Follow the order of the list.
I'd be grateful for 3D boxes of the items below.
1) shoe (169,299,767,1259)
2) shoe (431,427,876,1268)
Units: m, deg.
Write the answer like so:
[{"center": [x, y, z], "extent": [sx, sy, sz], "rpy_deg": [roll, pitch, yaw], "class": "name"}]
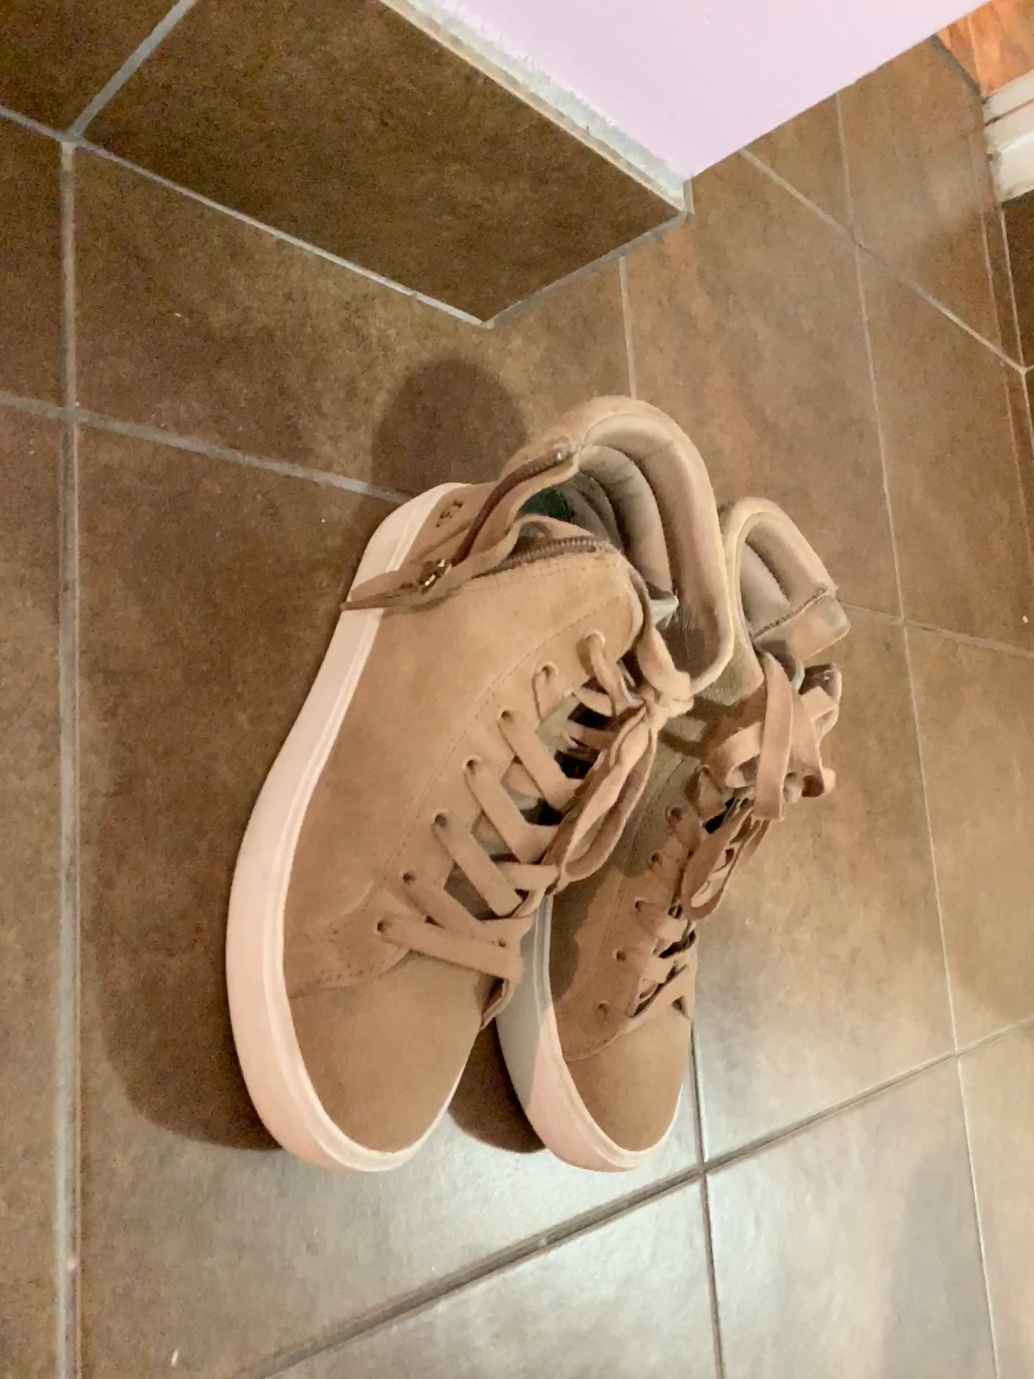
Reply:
[{"center": [-0.005, 0.029, 0.341], "extent": [0.106, 0.117, 0.254], "rpy_deg": [27, 62, -40], "class": "shoe"}, {"center": [0.051, 0.057, 0.421], "extent": [0.113, 0.119, 0.270], "rpy_deg": [13, 72, -45], "class": "shoe"}]
